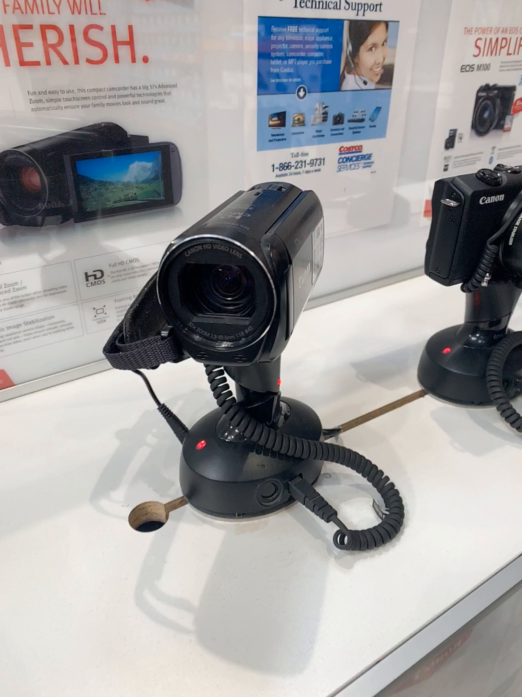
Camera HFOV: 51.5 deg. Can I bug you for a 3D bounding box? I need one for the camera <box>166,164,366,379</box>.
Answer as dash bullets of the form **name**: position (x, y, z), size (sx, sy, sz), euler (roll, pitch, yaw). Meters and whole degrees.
- **camera**: position (0.009, -0.042, 0.239), size (0.058, 0.054, 0.114), euler (8, 29, 13)
